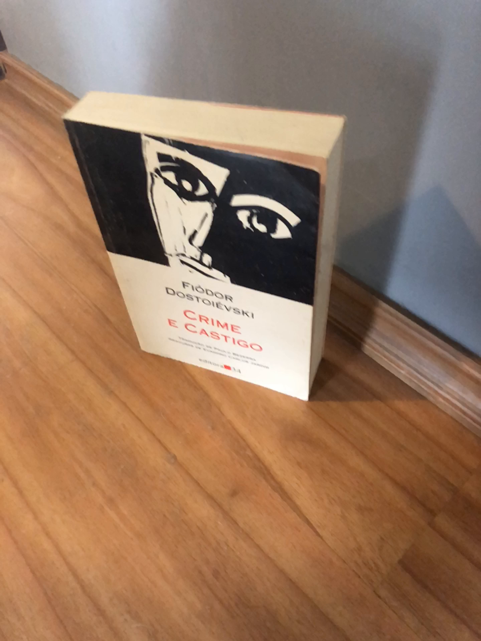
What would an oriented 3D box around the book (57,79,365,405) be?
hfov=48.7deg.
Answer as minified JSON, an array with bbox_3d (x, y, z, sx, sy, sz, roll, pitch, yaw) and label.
[{"bbox_3d":[-0.015,-0.042,0.384,0.170,0.222,0.045,16,53,16],"label":"book"}]
